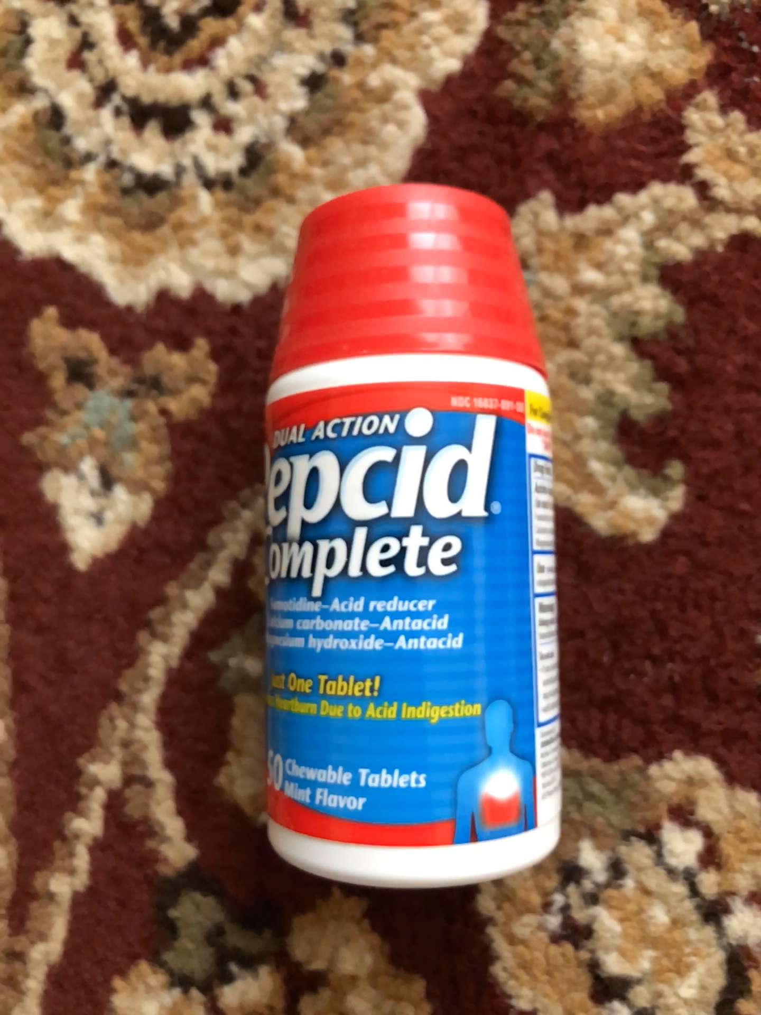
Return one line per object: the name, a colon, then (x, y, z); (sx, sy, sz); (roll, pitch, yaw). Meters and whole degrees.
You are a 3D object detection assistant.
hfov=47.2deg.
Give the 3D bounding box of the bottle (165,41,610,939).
bottle: (0.003, -0.002, 0.167); (0.060, 0.060, 0.130); (-2, 86, 36)
